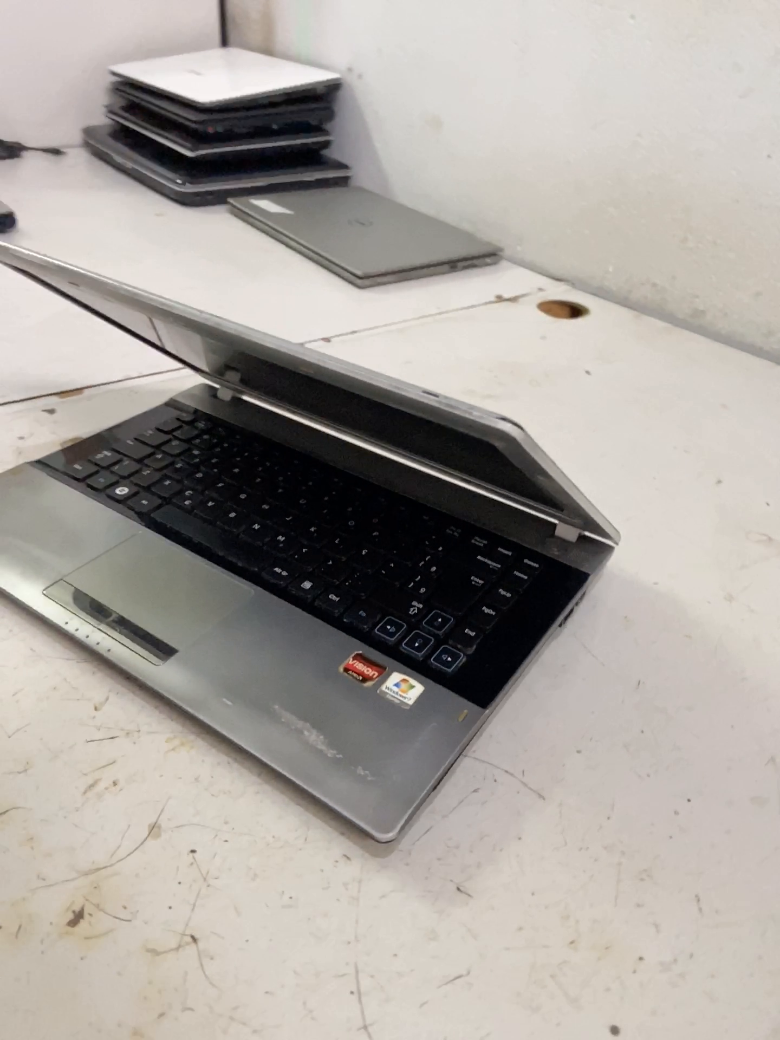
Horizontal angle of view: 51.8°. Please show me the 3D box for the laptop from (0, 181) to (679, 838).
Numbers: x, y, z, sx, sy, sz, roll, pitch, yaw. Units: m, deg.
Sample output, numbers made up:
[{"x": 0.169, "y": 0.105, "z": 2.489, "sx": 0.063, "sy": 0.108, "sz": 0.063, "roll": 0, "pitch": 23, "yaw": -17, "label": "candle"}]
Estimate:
[{"x": -0.071, "y": -0.052, "z": 0.430, "sx": 0.345, "sy": 0.150, "sz": 0.234, "roll": 23, "pitch": 40, "yaw": 27, "label": "laptop"}]
